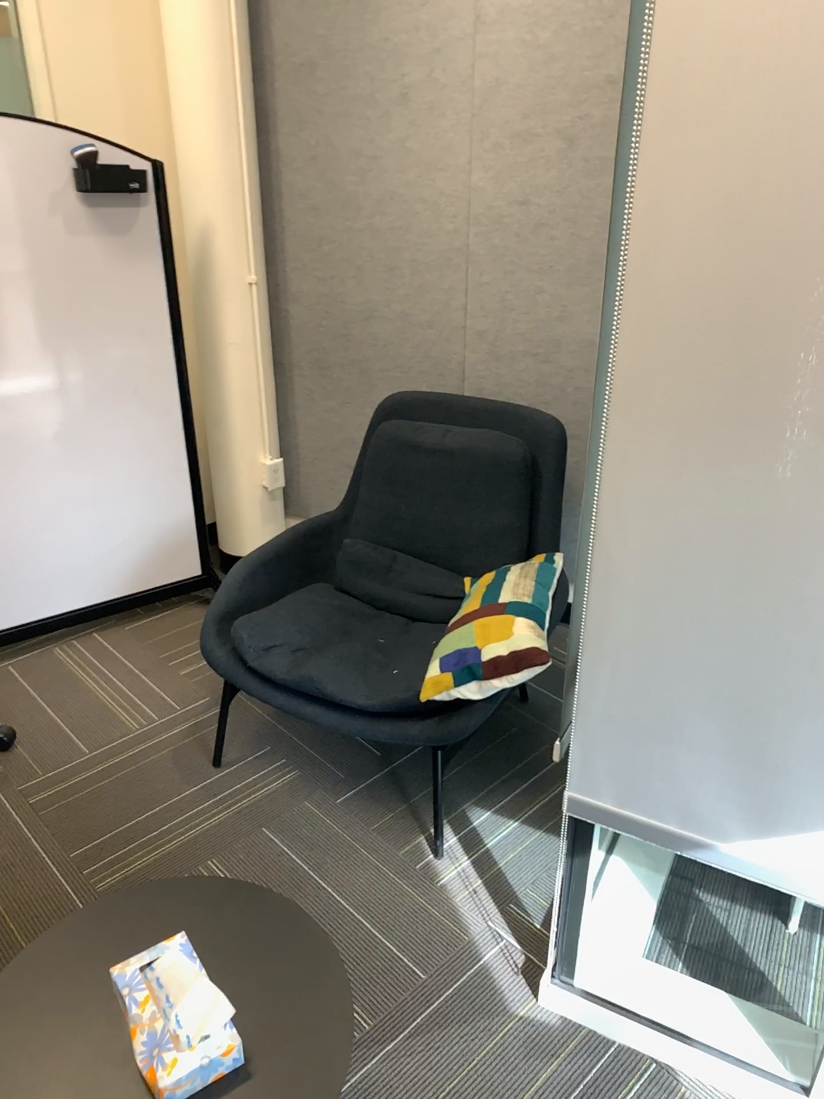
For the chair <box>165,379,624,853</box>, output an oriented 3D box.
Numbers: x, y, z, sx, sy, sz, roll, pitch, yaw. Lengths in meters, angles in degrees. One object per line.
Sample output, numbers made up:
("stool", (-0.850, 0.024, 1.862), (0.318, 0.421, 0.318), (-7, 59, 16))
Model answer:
("chair", (-0.002, 0.080, 2.427), (0.792, 0.816, 1.002), (17, 31, 30))
